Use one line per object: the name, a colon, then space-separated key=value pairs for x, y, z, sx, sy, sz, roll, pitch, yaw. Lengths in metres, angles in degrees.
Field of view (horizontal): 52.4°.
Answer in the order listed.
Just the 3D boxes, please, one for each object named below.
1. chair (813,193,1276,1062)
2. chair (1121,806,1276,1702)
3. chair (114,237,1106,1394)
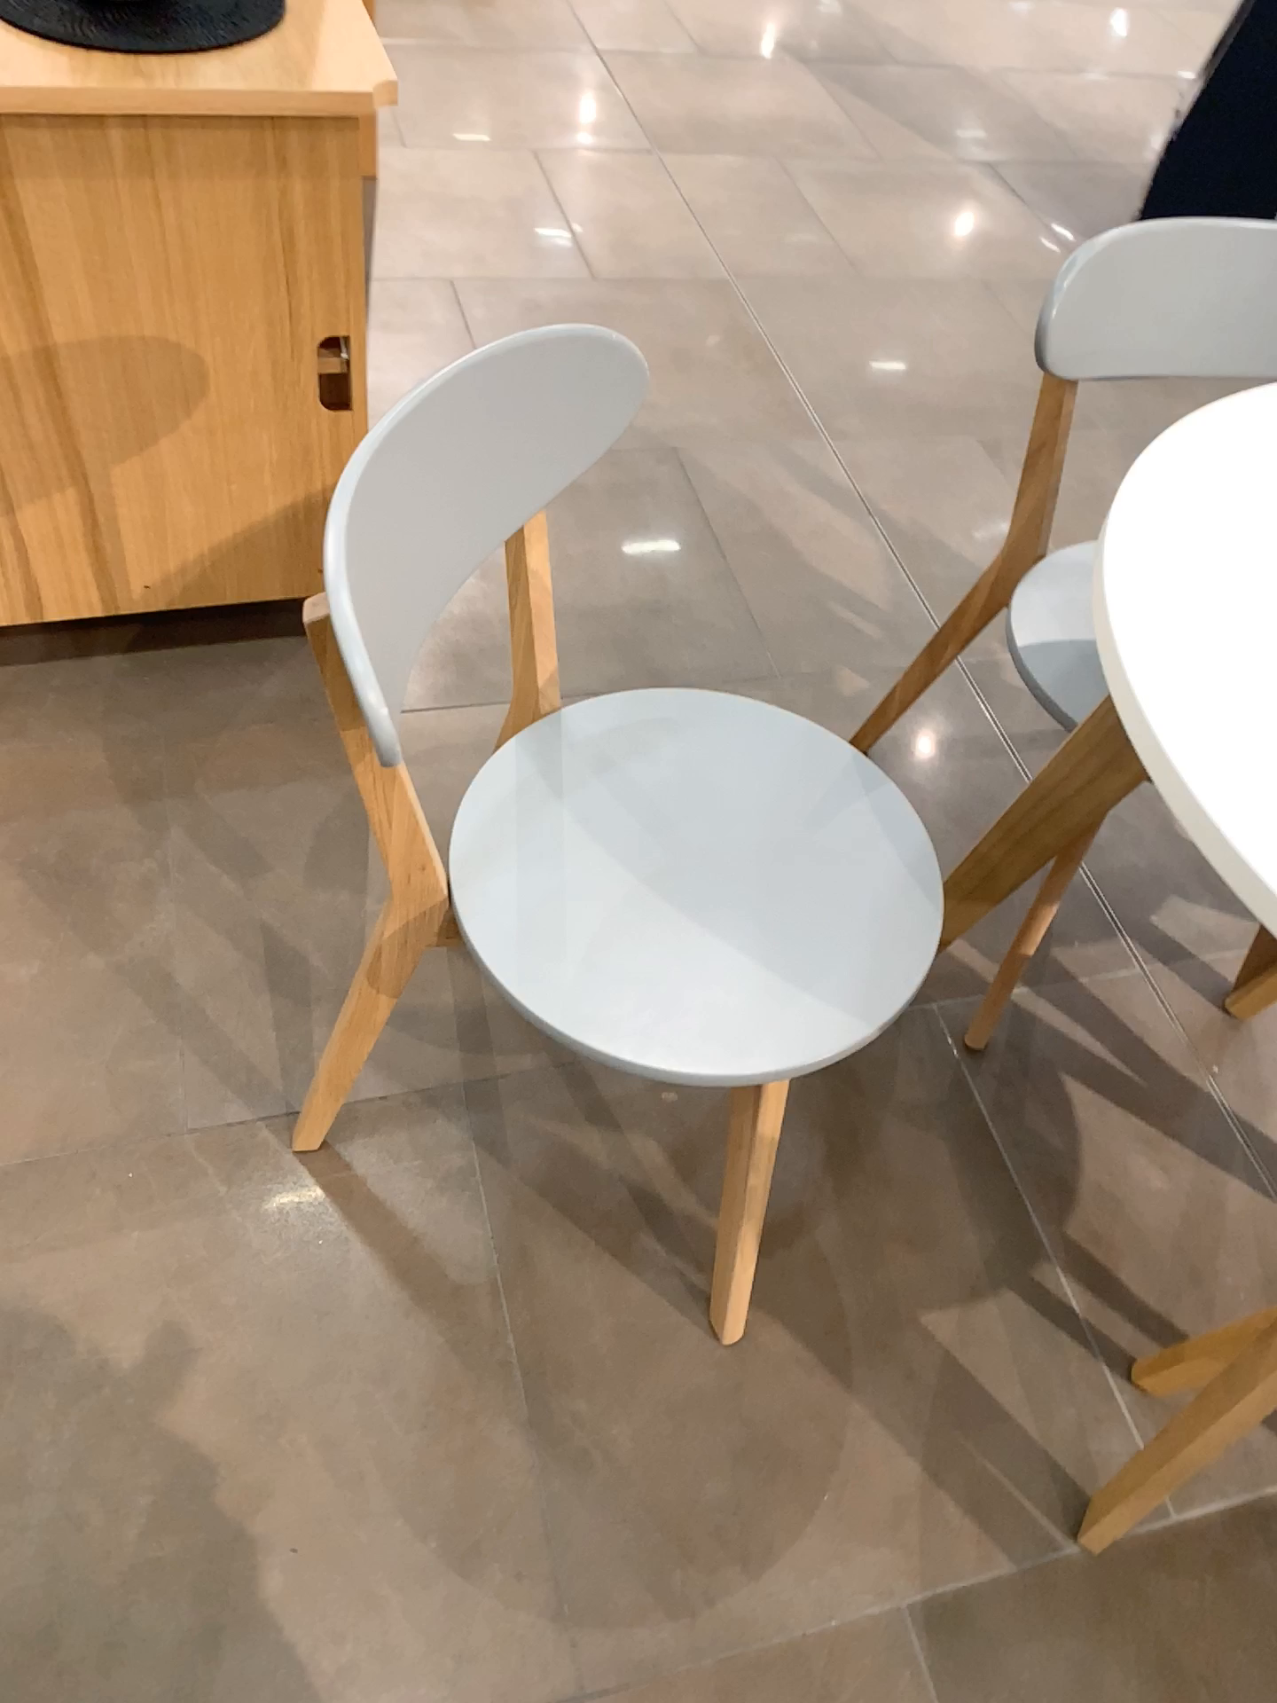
chair: x=0.625 y=-0.231 z=1.518 sx=0.520 sy=0.799 sz=0.544 roll=-6 pitch=52 yaw=-15
chair: x=0.868 y=0.455 z=0.953 sx=0.520 sy=0.799 sz=0.544 roll=-5 pitch=51 yaw=-14
chair: x=-0.020 y=0.013 z=1.182 sx=0.530 sy=0.799 sz=0.523 roll=20 pitch=50 yaw=7
